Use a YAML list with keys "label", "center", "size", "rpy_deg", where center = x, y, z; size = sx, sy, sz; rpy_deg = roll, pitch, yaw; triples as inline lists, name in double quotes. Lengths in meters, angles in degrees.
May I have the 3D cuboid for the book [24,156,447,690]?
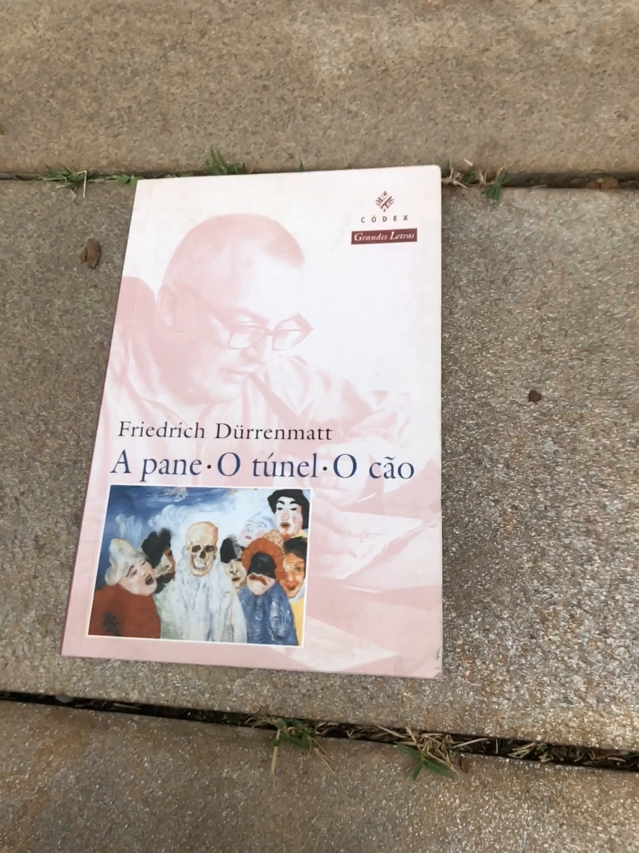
- label: "book"
  center: [-0.024, -0.011, 0.268]
  size: [0.140, 0.015, 0.200]
  rpy_deg: [1, 72, 7]
